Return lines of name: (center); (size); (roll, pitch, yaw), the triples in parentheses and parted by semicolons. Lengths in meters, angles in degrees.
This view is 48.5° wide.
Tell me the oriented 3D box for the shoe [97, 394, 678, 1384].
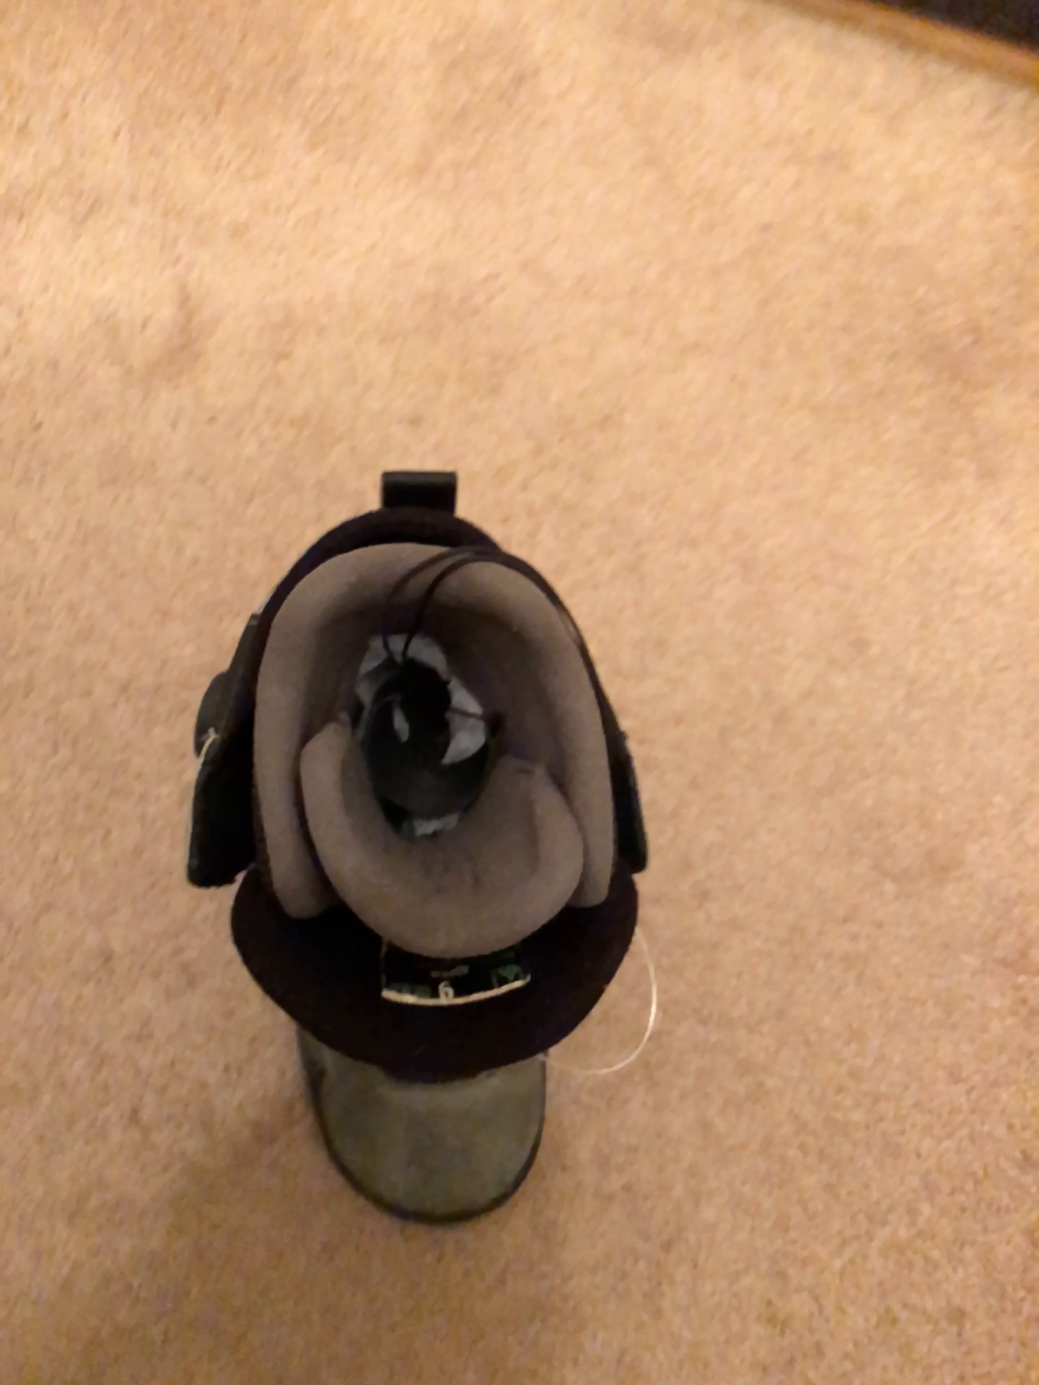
shoe: (-0.043, 0.081, 0.443); (0.137, 0.283, 0.273); (1, 76, -5)
